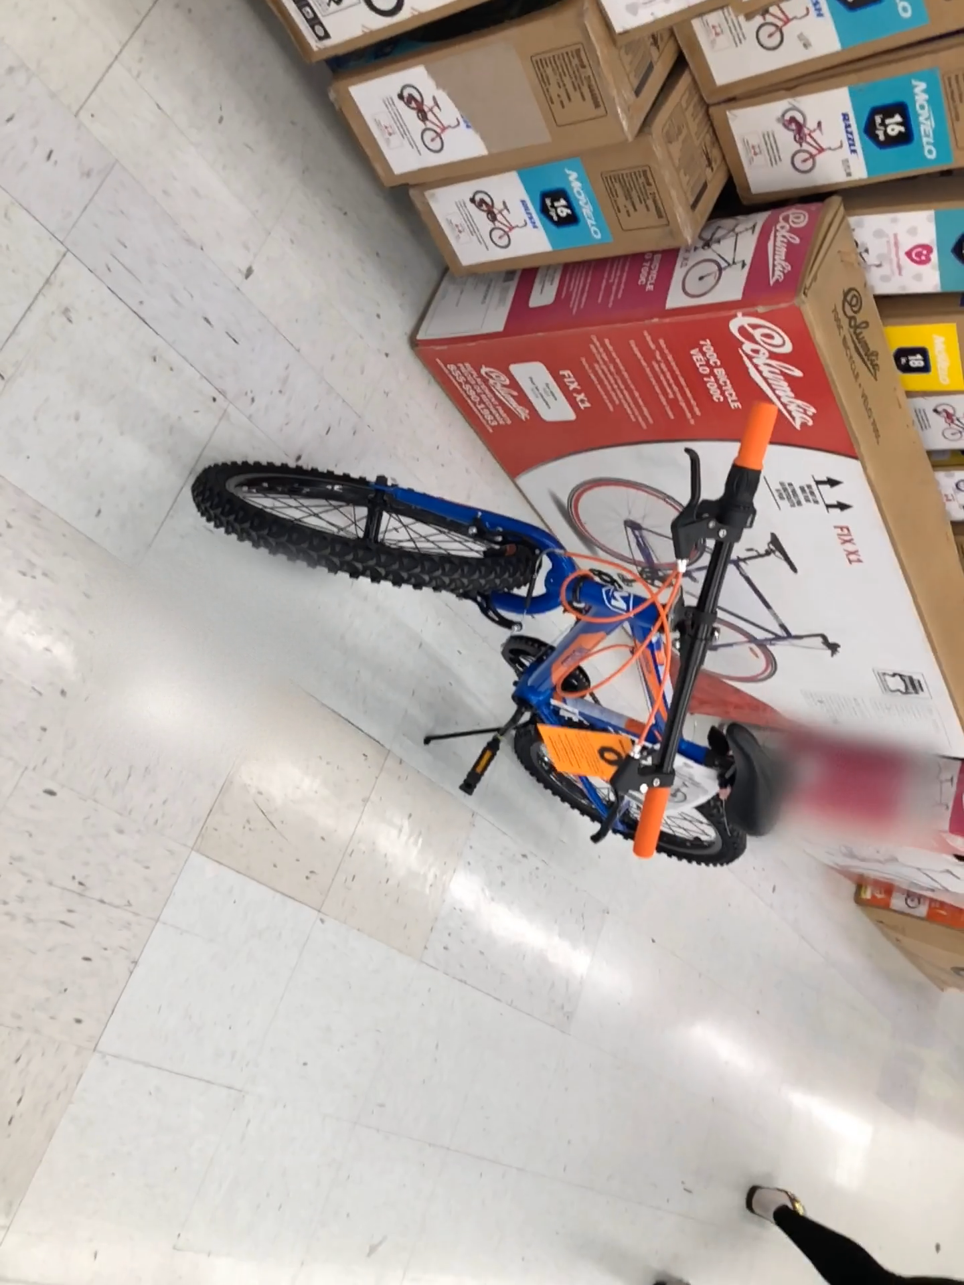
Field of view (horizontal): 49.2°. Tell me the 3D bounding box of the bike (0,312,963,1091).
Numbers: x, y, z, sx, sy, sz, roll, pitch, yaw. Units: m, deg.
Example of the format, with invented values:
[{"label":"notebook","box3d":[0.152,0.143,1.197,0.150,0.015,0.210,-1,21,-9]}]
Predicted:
[{"label":"bike","box3d":[0.092,0.165,1.732,1.321,0.869,0.584,40,63,-41]}]
